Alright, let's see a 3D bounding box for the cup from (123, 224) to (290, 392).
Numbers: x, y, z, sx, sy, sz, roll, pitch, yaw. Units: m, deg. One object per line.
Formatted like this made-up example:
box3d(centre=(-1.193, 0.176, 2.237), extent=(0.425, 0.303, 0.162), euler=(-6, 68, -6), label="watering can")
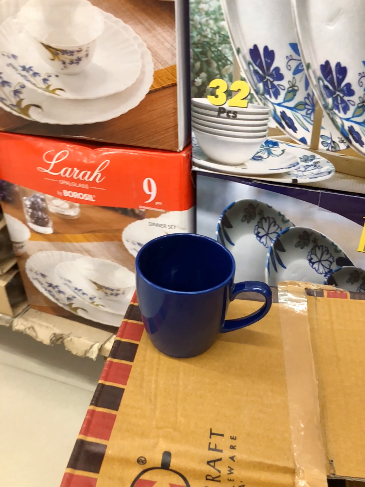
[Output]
box3d(centre=(0.021, 0.043, 0.294), extent=(0.100, 0.079, 0.070), euler=(7, 34, 13), label="cup")
